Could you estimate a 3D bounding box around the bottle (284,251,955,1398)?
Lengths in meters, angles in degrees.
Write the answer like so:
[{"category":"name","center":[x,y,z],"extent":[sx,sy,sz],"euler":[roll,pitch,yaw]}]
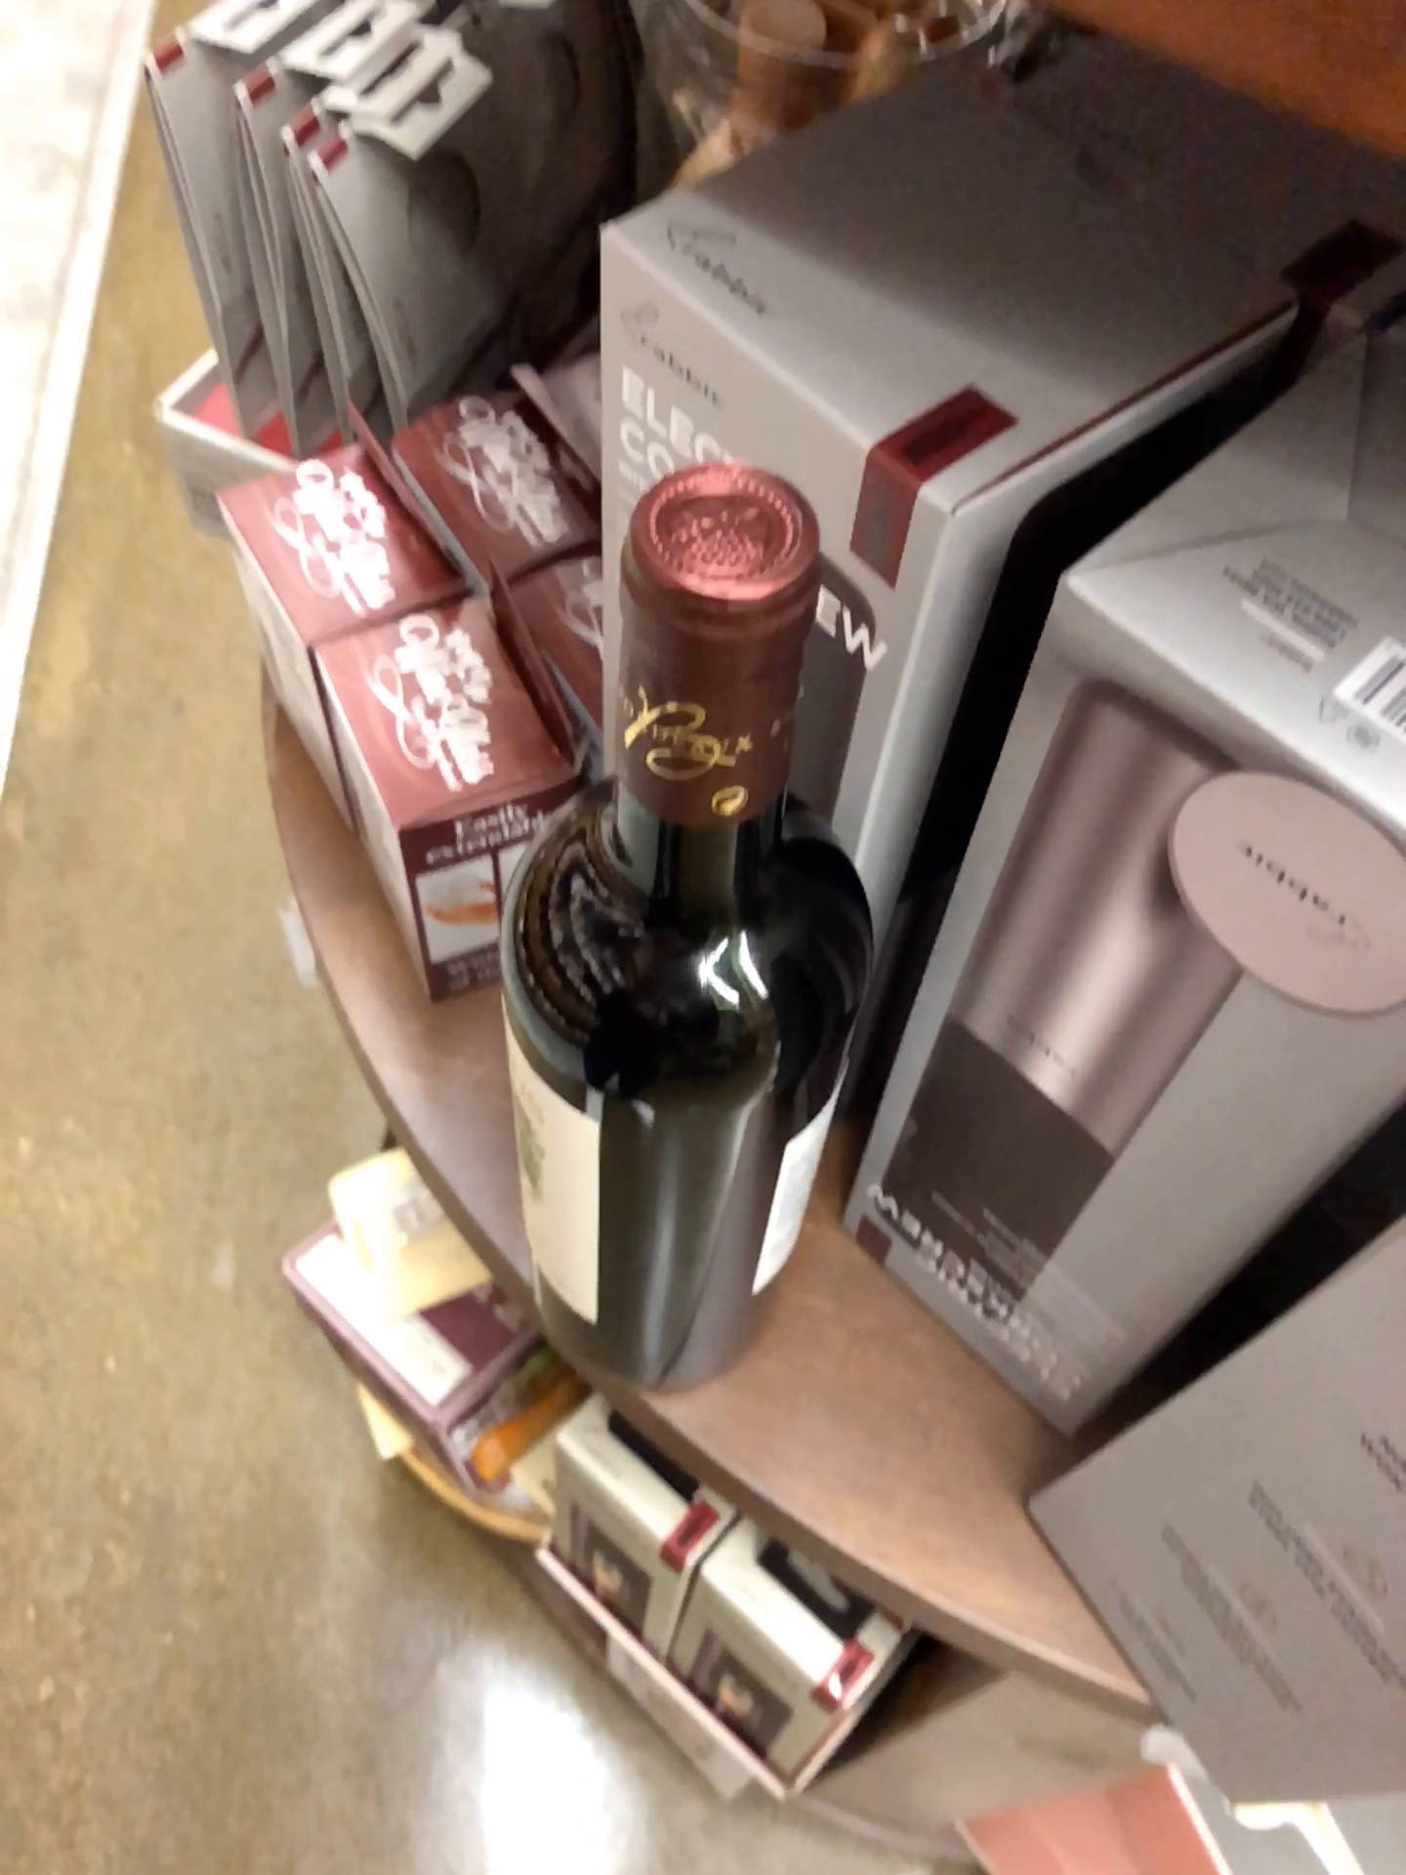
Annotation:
[{"category":"bottle","center":[-0.016,0.014,0.334],"extent":[0.080,0.300,0.080],"euler":[1,57,-2]}]
